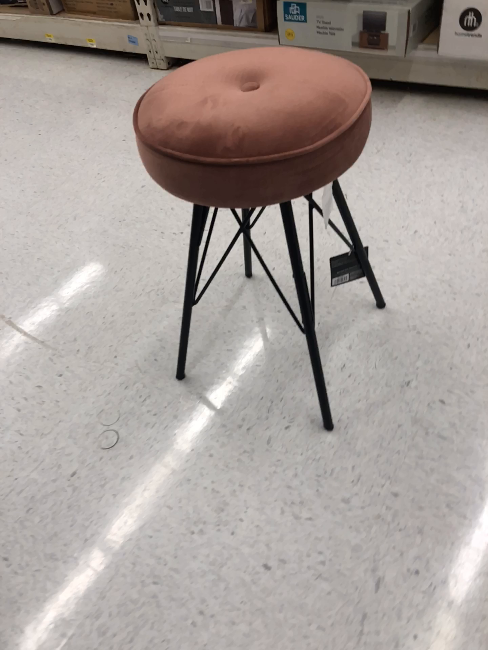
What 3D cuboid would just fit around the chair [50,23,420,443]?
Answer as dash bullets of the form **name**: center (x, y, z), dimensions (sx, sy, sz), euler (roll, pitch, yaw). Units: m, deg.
- **chair**: center (0.035, -0.144, 0.862), dimensions (0.350, 0.498, 0.361), euler (16, 53, 24)
